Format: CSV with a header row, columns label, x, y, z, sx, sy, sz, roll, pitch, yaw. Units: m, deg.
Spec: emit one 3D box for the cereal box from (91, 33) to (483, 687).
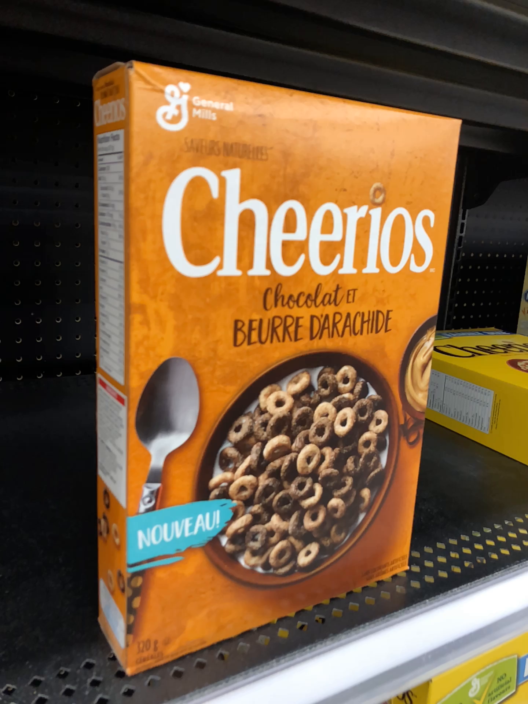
label,x,y,z,sx,sy,sz,roll,pitch,yaw
cereal box,0.012,0.007,0.326,0.200,0.289,0.060,-5,15,-32
